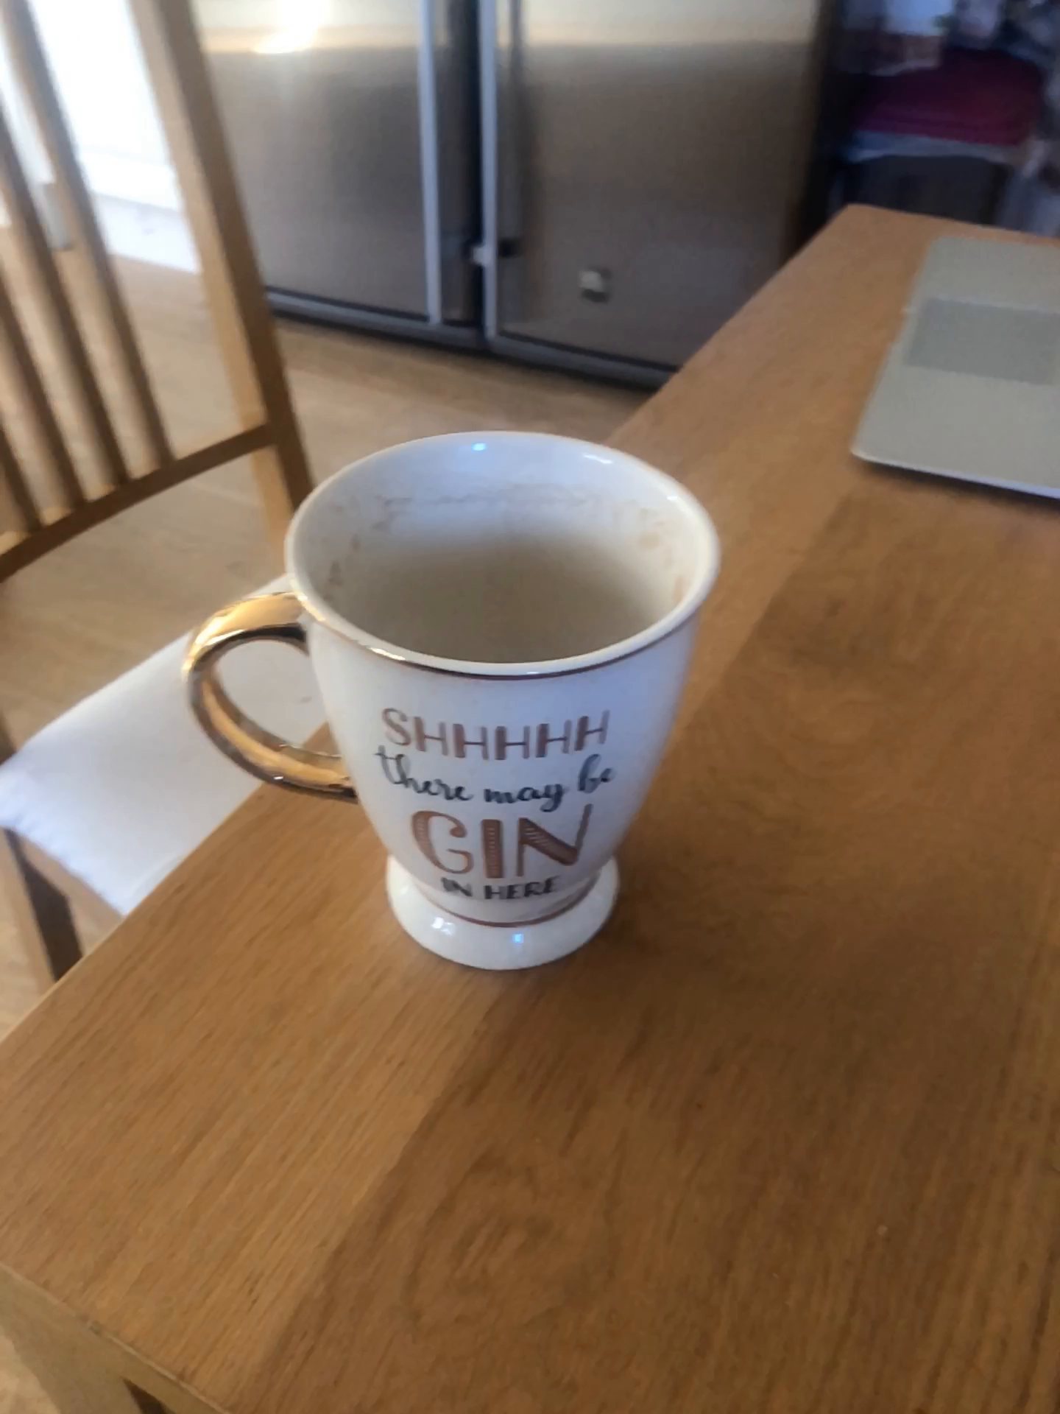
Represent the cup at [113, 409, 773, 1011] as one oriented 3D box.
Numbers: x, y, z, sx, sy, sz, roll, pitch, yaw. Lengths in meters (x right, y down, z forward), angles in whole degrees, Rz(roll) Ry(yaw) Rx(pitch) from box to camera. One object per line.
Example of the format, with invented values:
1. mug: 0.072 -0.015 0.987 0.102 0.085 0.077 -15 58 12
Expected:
1. cup: -0.016 -0.001 0.316 0.134 0.111 0.109 3 41 1
